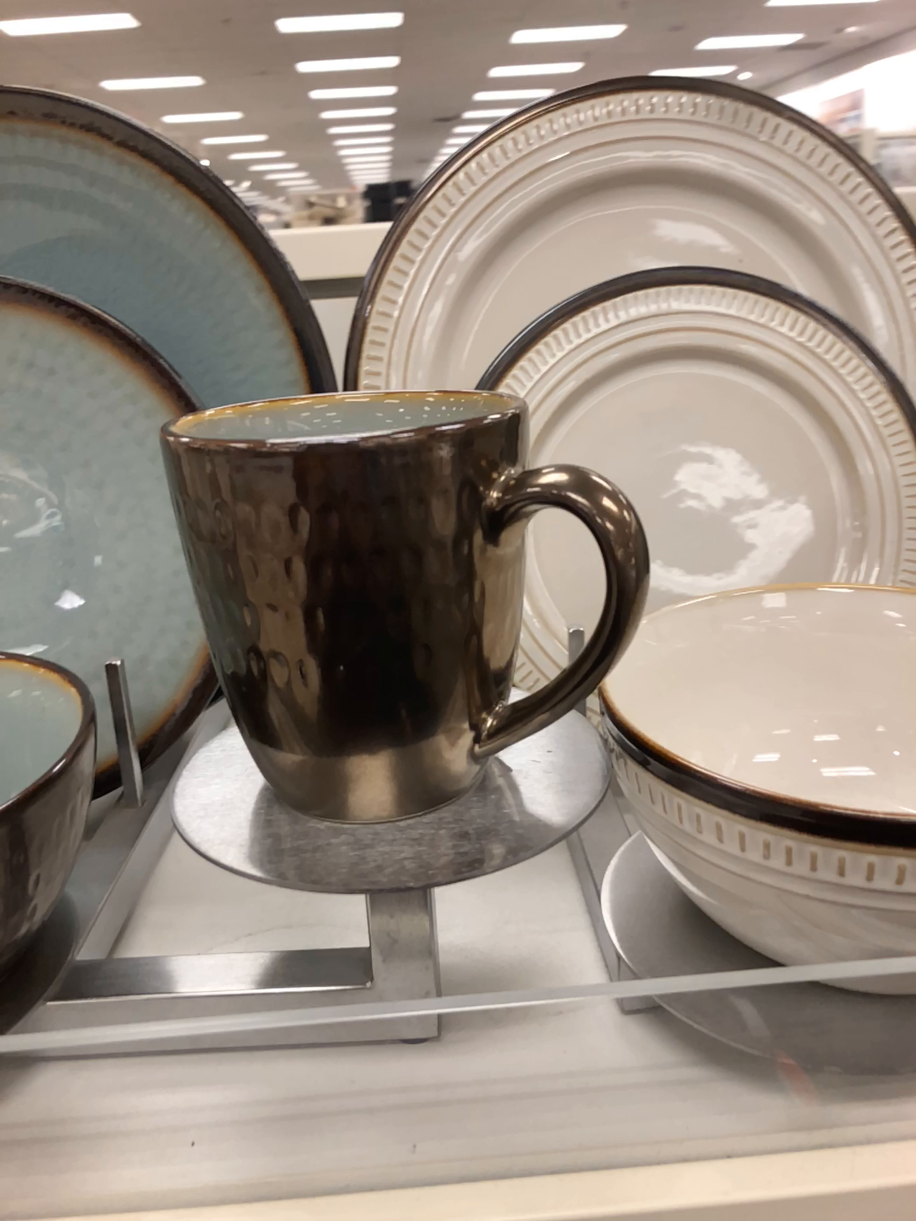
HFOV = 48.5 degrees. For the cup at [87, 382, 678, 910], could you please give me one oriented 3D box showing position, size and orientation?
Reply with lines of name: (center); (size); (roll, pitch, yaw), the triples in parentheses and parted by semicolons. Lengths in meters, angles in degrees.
cup: (-0.012, -0.002, 0.261); (0.117, 0.100, 0.083); (6, 22, 25)
